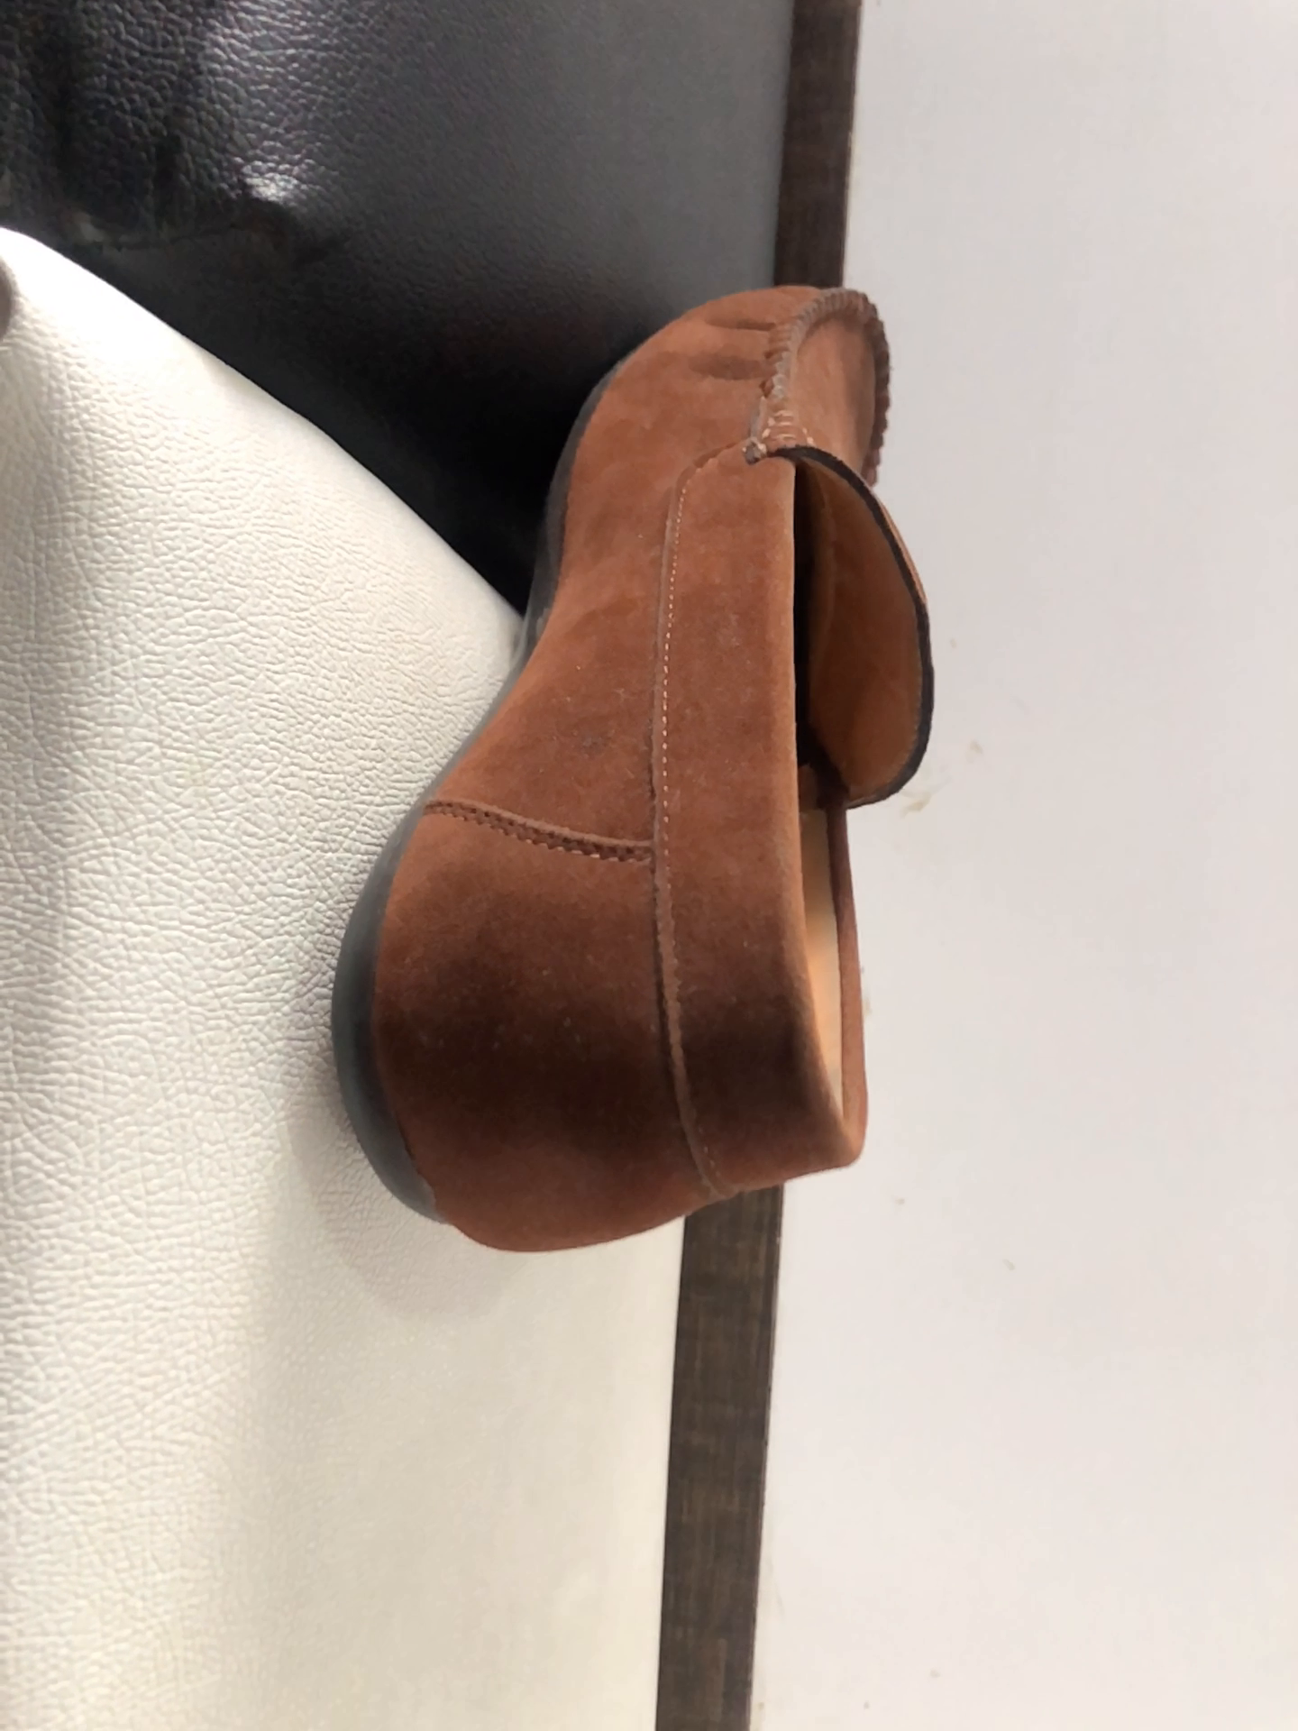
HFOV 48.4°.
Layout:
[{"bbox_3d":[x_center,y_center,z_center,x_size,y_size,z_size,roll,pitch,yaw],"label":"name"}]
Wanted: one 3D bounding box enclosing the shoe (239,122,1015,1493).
[{"bbox_3d":[0.031,-0.038,0.325,0.291,0.080,0.140,-71,157,-43],"label":"shoe"}]
